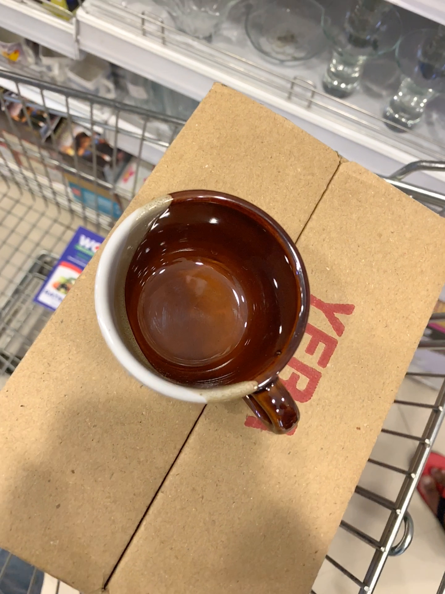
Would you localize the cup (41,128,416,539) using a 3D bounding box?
[{"bbox_3d":[-0.001,0.011,0.161,0.060,0.060,0.100,-34,85,-11],"label":"cup"}]
